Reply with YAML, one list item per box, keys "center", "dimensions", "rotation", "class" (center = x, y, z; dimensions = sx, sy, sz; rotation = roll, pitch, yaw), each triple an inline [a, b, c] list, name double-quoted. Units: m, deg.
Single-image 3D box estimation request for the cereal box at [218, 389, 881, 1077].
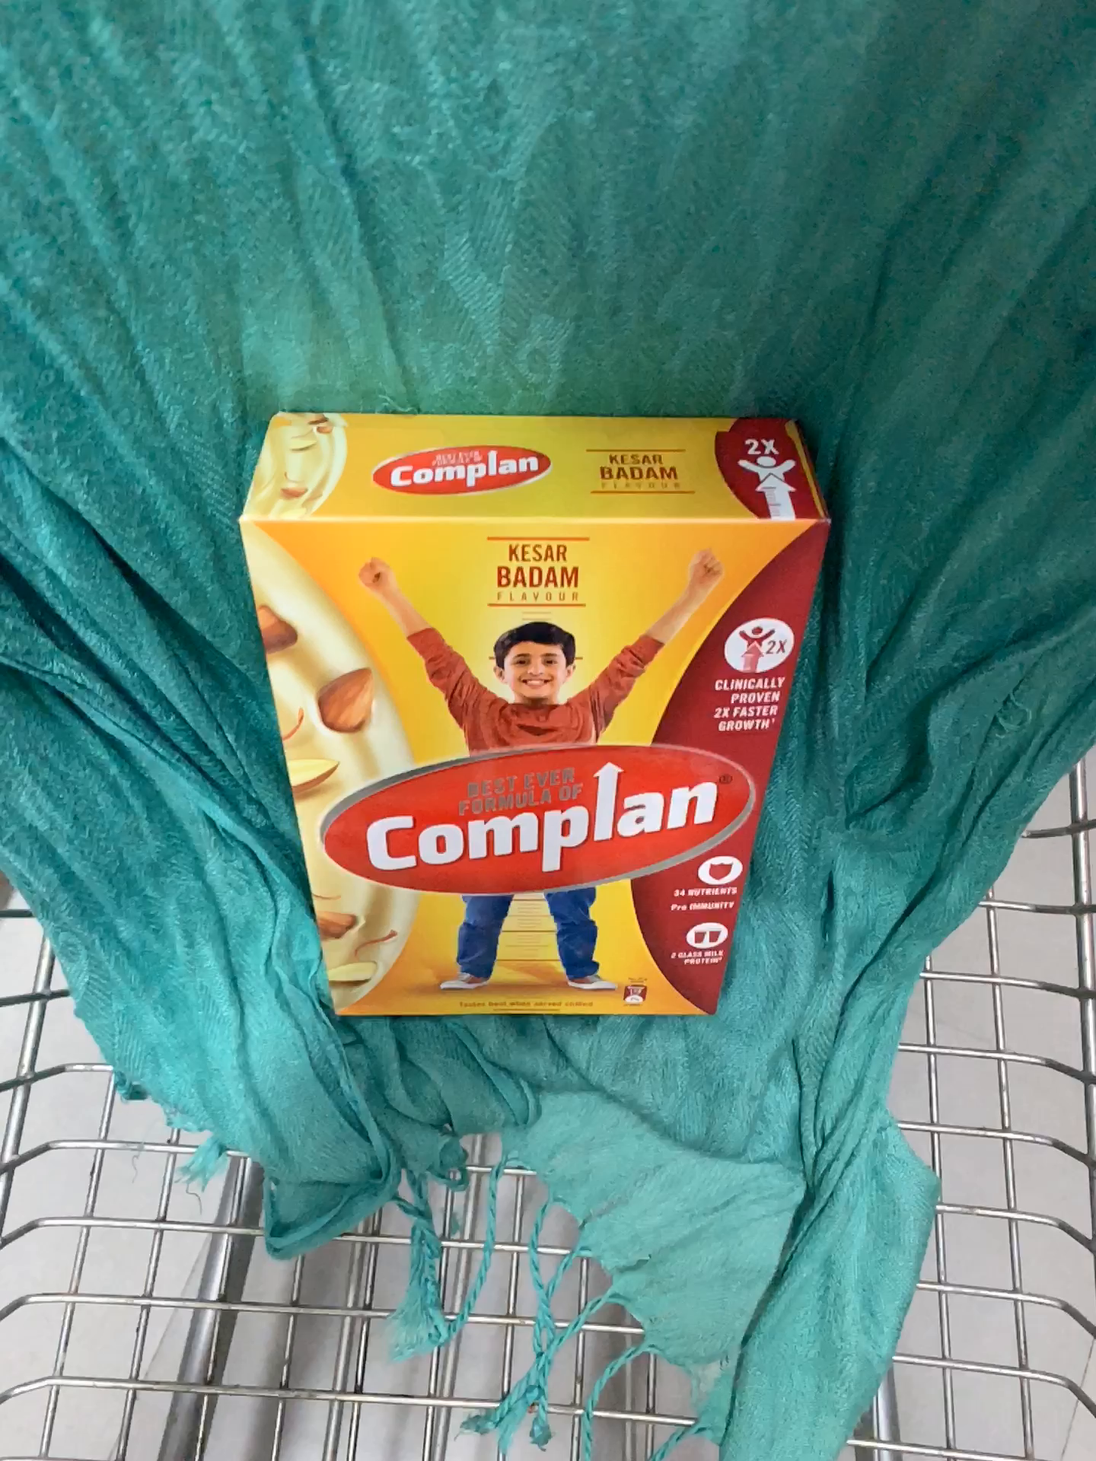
- center: [0.001, 0.011, 0.322]
  dimensions: [0.140, 0.200, 0.060]
  rotation: [0, 37, 1]
  class: "cereal box"
